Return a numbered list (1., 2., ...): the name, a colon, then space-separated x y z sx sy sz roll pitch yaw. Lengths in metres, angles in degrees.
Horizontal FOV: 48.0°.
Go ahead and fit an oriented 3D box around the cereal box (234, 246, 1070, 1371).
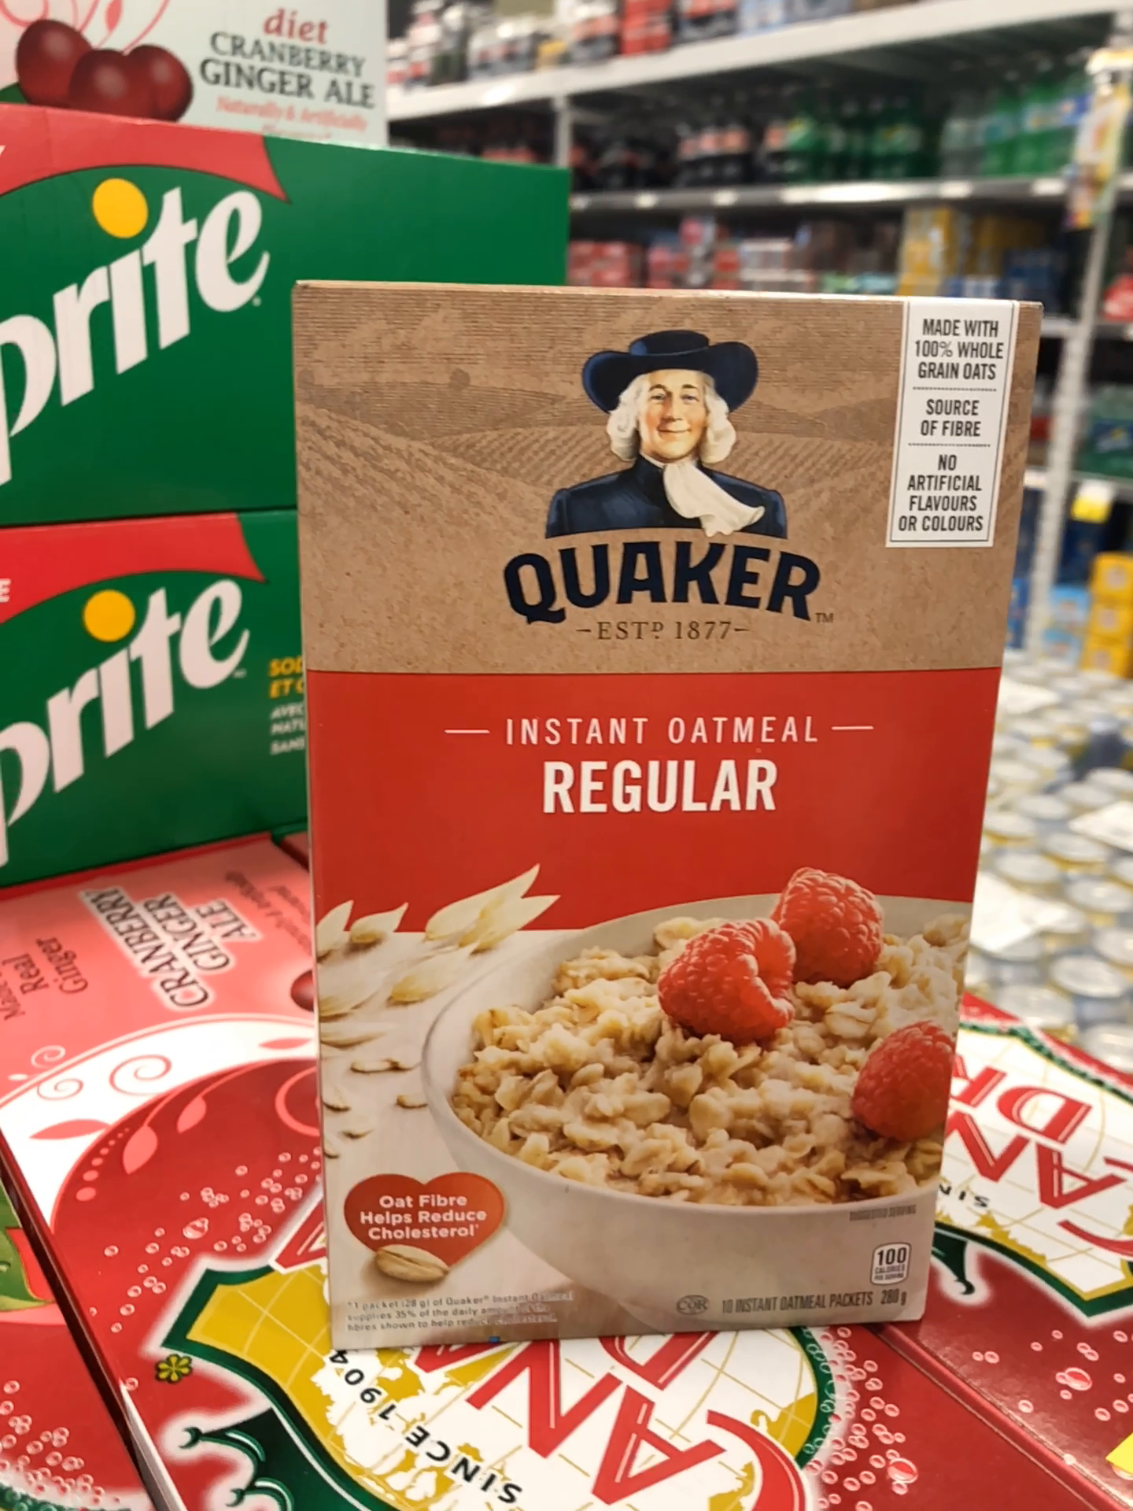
1. cereal box: 0.009 0.010 0.256 0.130 0.199 0.070 0 16 -7
